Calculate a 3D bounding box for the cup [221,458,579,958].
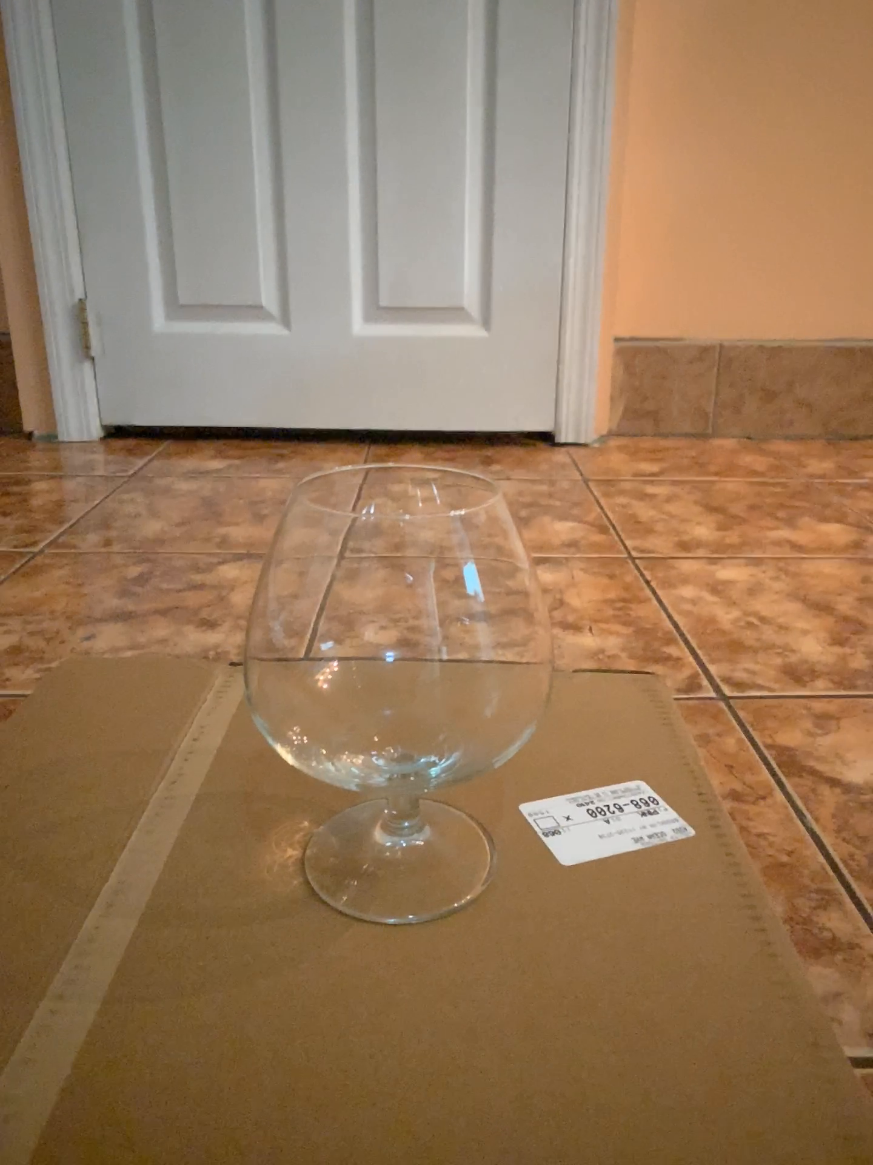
[{"bbox_3d":[-0.013,0.042,0.328,0.105,0.158,0.085,0,20,-3],"label":"cup"}]
